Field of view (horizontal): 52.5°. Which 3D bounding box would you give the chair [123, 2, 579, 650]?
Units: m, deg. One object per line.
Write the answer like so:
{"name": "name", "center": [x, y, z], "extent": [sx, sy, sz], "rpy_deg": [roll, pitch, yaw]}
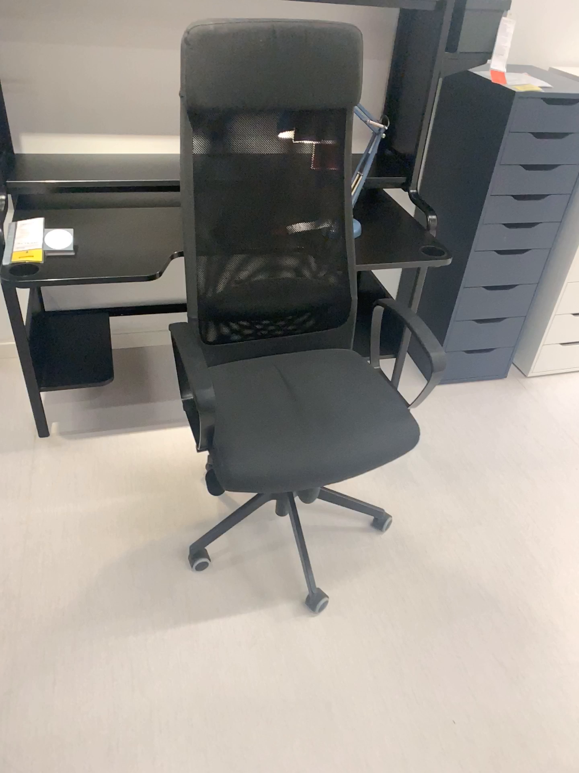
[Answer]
{"name": "chair", "center": [0.035, -0.122, 1.401], "extent": [0.640, 1.245, 0.713], "rpy_deg": [-9, 39, -18]}
